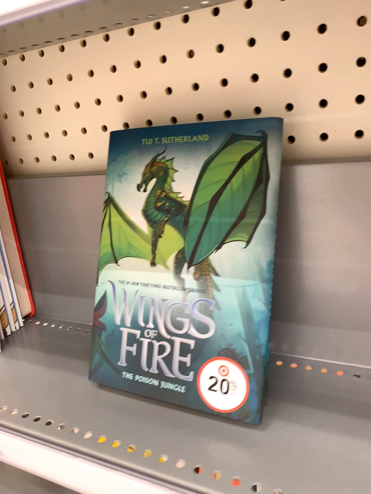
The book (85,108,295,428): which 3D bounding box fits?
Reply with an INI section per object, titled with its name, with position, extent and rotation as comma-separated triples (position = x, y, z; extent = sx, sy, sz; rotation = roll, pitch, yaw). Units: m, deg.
[book]
position = 0.000, 0.009, 0.307
extent = 0.150, 0.215, 0.036
rotation = 3, -4, 27
